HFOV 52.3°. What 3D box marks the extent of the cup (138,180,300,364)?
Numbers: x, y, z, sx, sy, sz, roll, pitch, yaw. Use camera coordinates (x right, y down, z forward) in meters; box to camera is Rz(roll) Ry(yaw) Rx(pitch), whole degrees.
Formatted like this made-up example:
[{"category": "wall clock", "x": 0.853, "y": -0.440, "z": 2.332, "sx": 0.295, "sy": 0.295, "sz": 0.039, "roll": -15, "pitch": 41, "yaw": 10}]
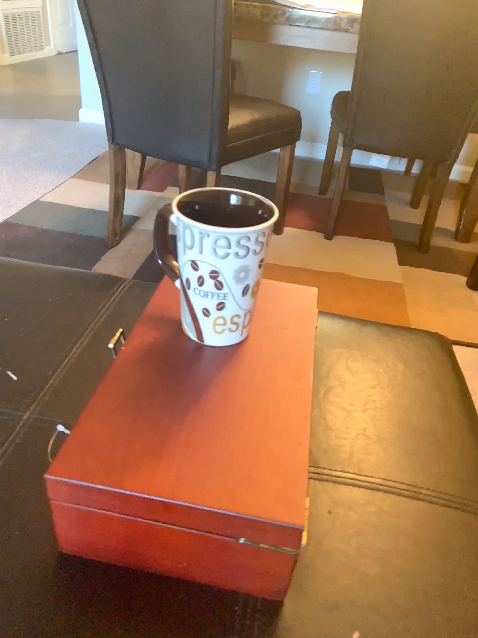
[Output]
[{"category": "cup", "x": -0.019, "y": -0.045, "z": 0.429, "sx": 0.100, "sy": 0.109, "sz": 0.090, "roll": 22, "pitch": 38, "yaw": 22}]
